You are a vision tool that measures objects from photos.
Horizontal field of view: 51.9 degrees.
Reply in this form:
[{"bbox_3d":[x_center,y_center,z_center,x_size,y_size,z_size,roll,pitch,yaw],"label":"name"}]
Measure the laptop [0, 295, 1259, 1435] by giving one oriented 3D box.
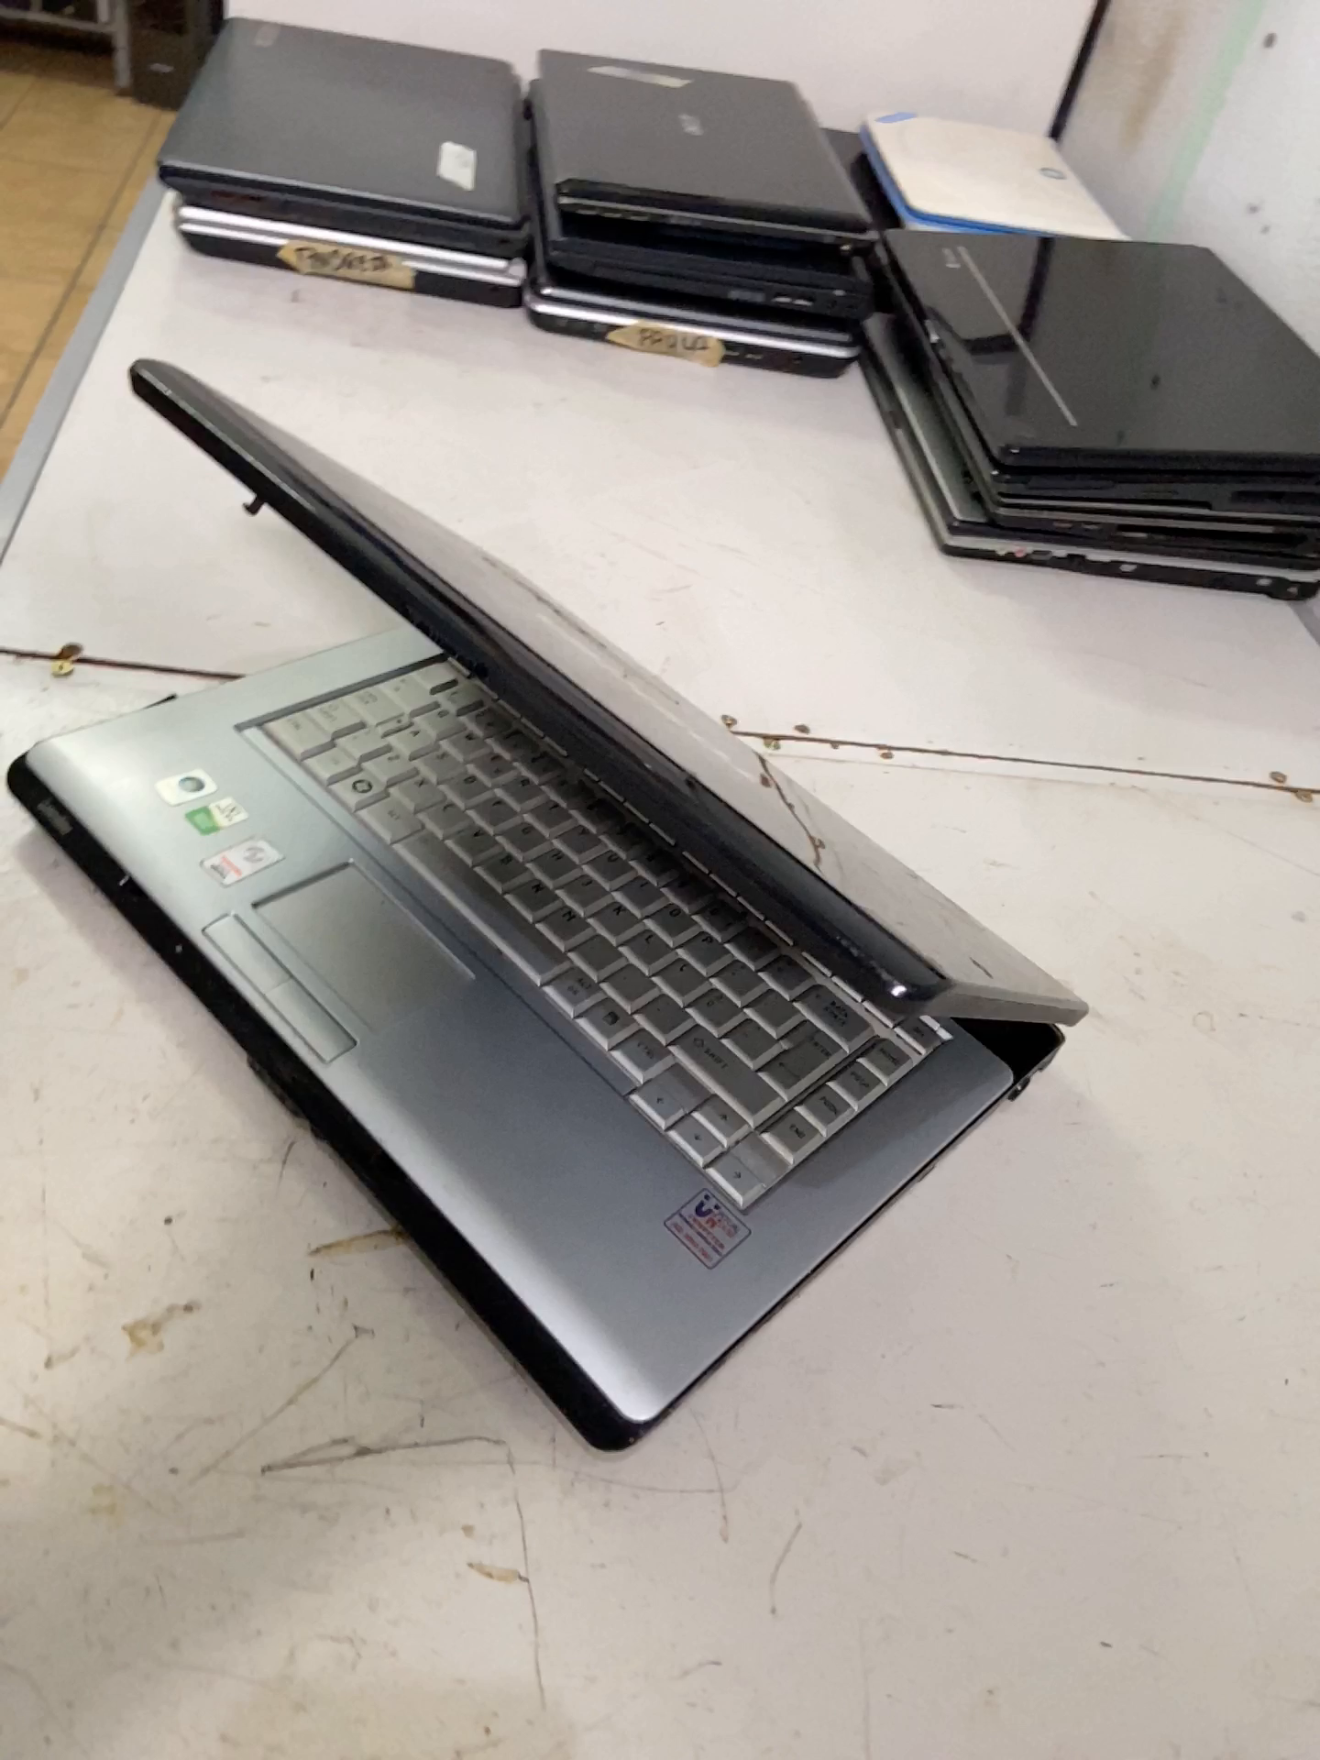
[{"bbox_3d":[-0.032,-0.047,0.481,0.346,0.152,0.259,40,47,24],"label":"laptop"}]
